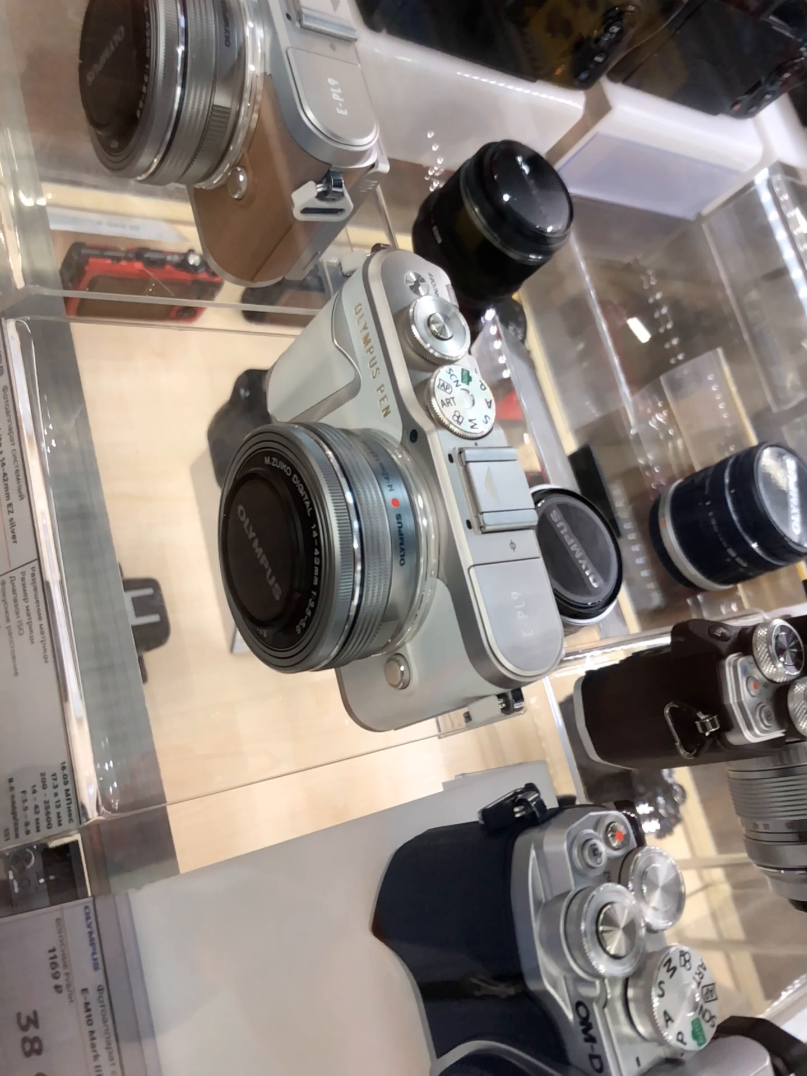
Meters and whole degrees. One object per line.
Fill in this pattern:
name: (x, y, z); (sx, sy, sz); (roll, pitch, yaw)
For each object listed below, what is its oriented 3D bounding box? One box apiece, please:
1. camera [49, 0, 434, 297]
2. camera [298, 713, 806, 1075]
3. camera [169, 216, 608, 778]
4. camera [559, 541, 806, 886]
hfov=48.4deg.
camera: (-0.049, -0.126, 0.247); (0.061, 0.072, 0.087); (-8, 74, -37)
camera: (0.032, 0.104, 0.179); (0.053, 0.072, 0.114); (-7, 74, -37)
camera: (-0.009, -0.008, 0.227); (0.053, 0.070, 0.114); (-7, 74, -37)
camera: (0.123, 0.052, 0.281); (0.115, 0.072, 0.072); (-6, 73, -37)
